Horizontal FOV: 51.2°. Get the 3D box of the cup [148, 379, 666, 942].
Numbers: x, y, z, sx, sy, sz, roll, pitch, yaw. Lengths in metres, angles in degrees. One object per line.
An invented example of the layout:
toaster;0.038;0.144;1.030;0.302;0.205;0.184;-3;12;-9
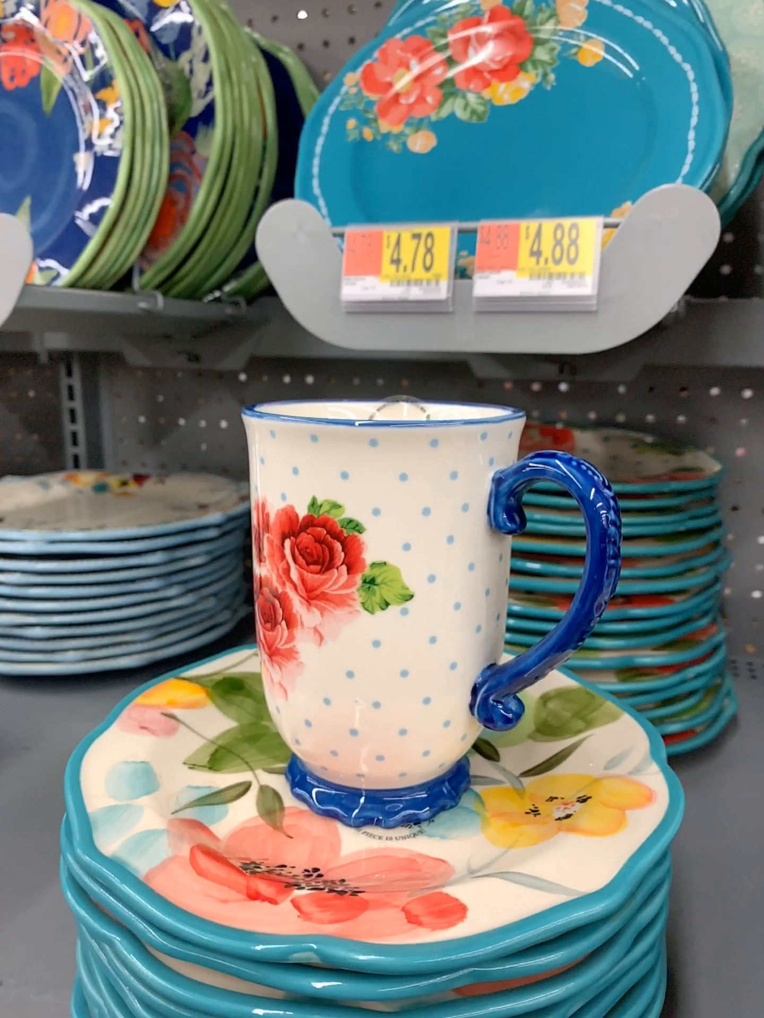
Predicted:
cup;0.009;0.029;0.256;0.130;0.130;0.090;8;14;30
